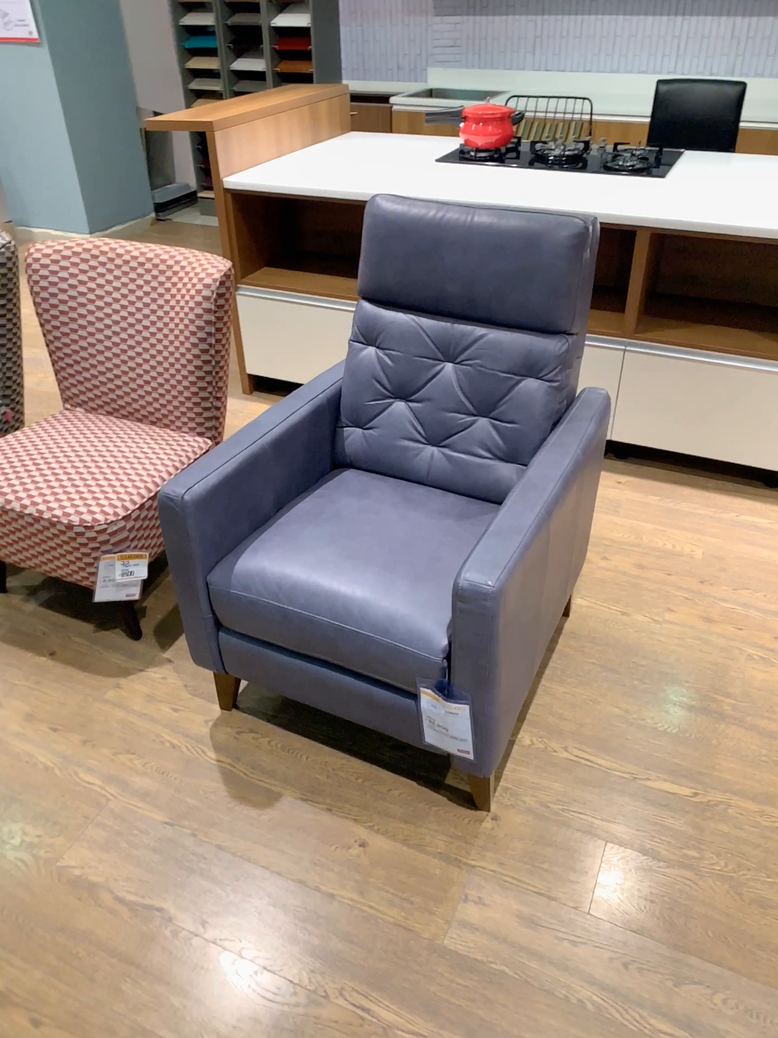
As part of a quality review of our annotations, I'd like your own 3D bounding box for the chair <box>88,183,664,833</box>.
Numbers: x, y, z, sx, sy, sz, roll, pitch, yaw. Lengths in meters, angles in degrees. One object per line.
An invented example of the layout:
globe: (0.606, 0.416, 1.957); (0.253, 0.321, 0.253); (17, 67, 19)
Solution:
chair: (0.047, -0.098, 1.752); (0.771, 0.996, 0.853); (15, 37, 22)
